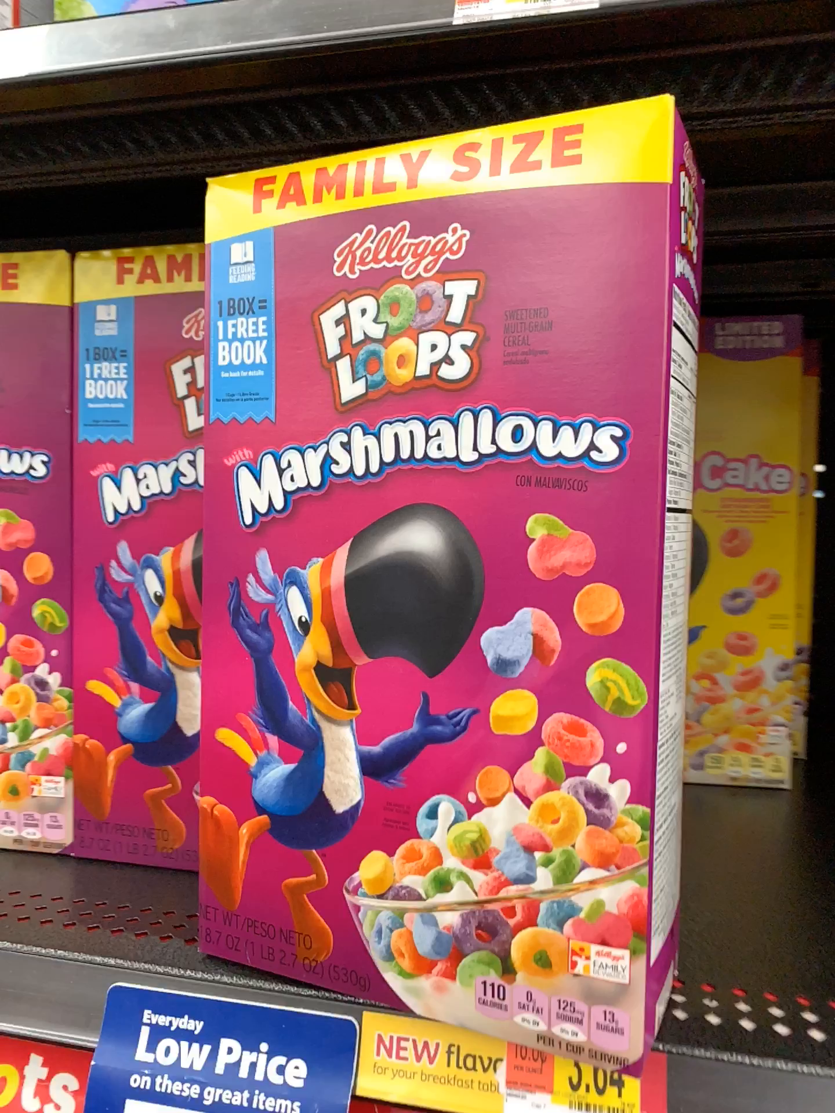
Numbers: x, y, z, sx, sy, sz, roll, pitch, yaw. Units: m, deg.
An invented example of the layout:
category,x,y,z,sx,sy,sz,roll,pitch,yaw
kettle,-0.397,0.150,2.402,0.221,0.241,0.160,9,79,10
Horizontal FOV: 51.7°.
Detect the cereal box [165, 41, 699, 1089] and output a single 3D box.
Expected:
category,x,y,z,sx,sy,sz,roll,pitch,yaw
cereal box,0.002,0.001,0.358,0.200,0.340,0.080,2,2,25
